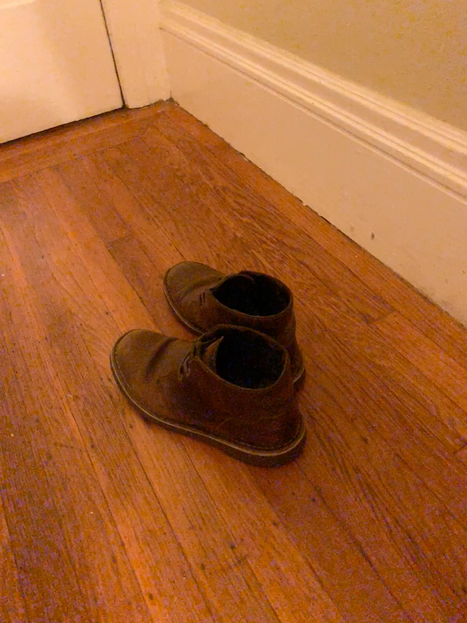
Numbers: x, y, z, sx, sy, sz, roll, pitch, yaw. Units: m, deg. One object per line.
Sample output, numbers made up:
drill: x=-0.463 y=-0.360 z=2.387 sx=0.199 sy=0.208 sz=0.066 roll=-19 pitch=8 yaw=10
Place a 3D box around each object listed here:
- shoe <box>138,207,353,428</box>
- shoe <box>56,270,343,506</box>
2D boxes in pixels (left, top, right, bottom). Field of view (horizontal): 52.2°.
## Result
shoe: x=0.006 y=-0.006 z=0.651 sx=0.120 sy=0.119 sz=0.291 roll=-31 pitch=51 yaw=-22
shoe: x=-0.042 y=0.077 z=0.563 sx=0.301 sy=0.119 sz=0.120 roll=22 pitch=52 yaw=24
